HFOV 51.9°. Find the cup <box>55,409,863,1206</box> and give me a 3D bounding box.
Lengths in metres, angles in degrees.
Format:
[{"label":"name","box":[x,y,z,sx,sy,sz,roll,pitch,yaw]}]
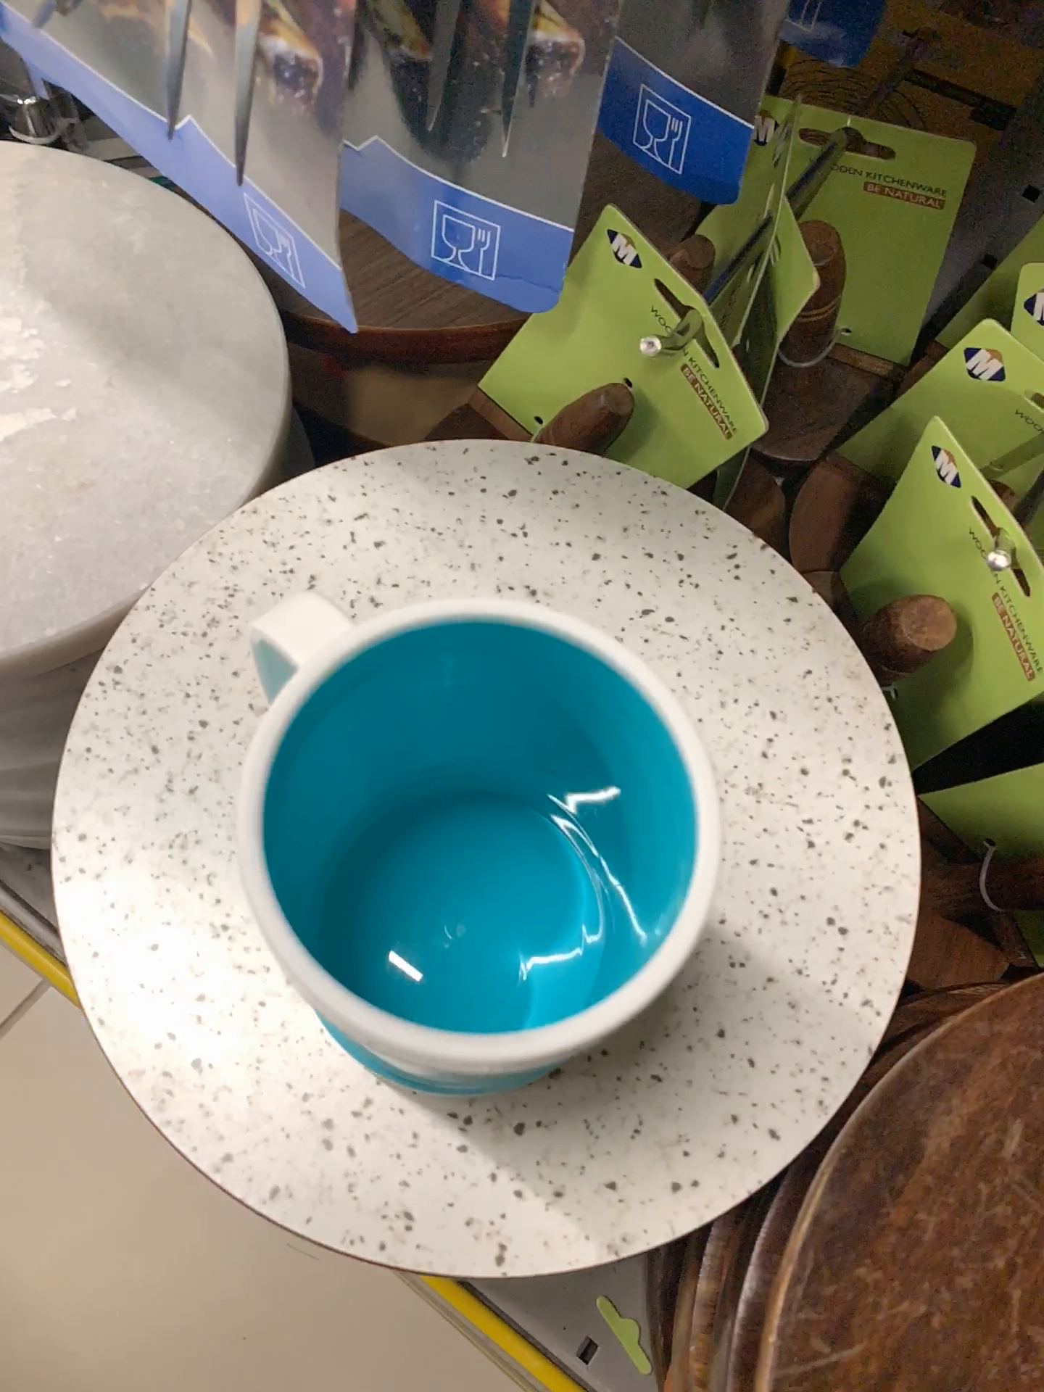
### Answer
[{"label":"cup","box":[-0.016,0.031,0.224,0.080,0.110,0.110,-36,73,-20]}]
